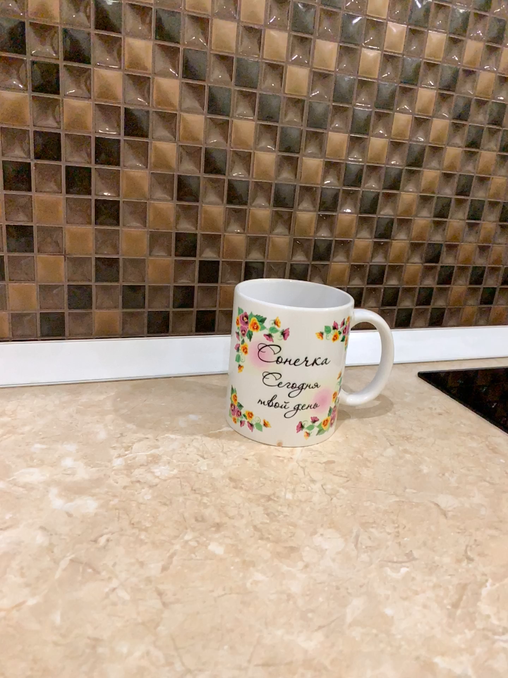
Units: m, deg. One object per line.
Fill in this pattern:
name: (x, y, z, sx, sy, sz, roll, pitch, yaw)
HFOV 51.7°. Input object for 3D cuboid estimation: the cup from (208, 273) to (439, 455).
cup: (0.040, 0.012, 0.366, 0.123, 0.093, 0.091, 0, 20, -17)
